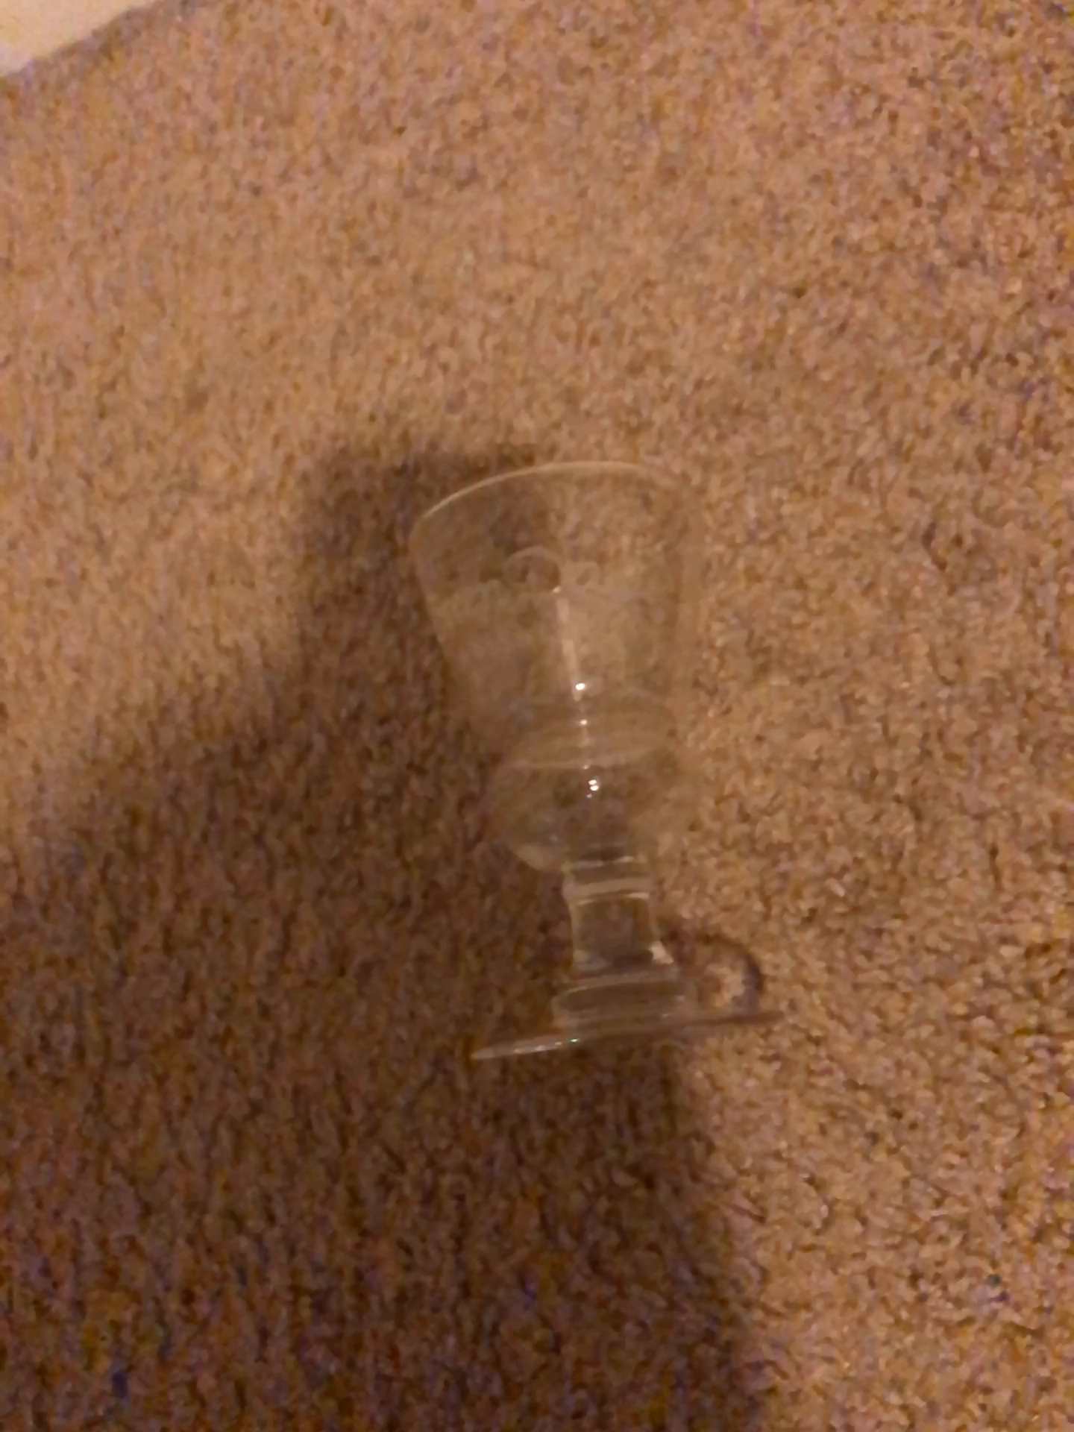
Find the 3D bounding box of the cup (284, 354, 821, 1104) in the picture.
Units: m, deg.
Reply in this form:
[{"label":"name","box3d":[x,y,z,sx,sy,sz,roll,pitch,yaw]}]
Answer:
[{"label":"cup","box3d":[0.002,0.010,0.307,0.094,0.078,0.158,-16,68,20]}]
